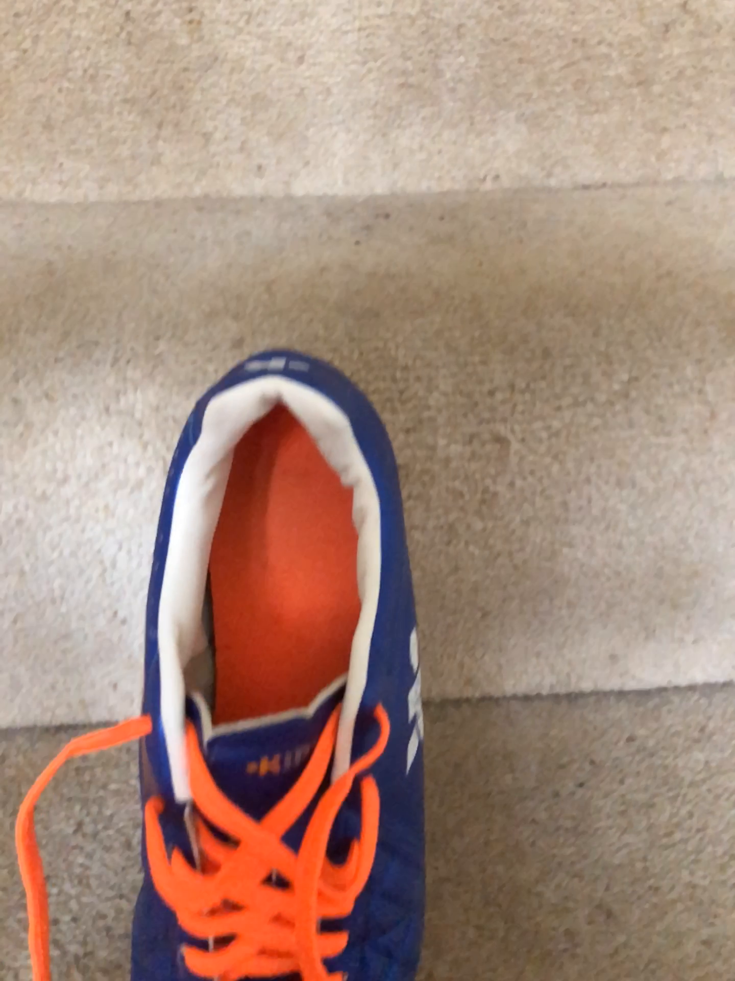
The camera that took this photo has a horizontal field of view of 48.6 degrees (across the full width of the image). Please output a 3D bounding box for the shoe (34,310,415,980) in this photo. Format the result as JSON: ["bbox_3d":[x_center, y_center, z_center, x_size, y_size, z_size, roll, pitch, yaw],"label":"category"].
[{"bbox_3d":[-0.030,0.070,0.223,0.070,0.210,0.100,2,-6,-3],"label":"shoe"}]
